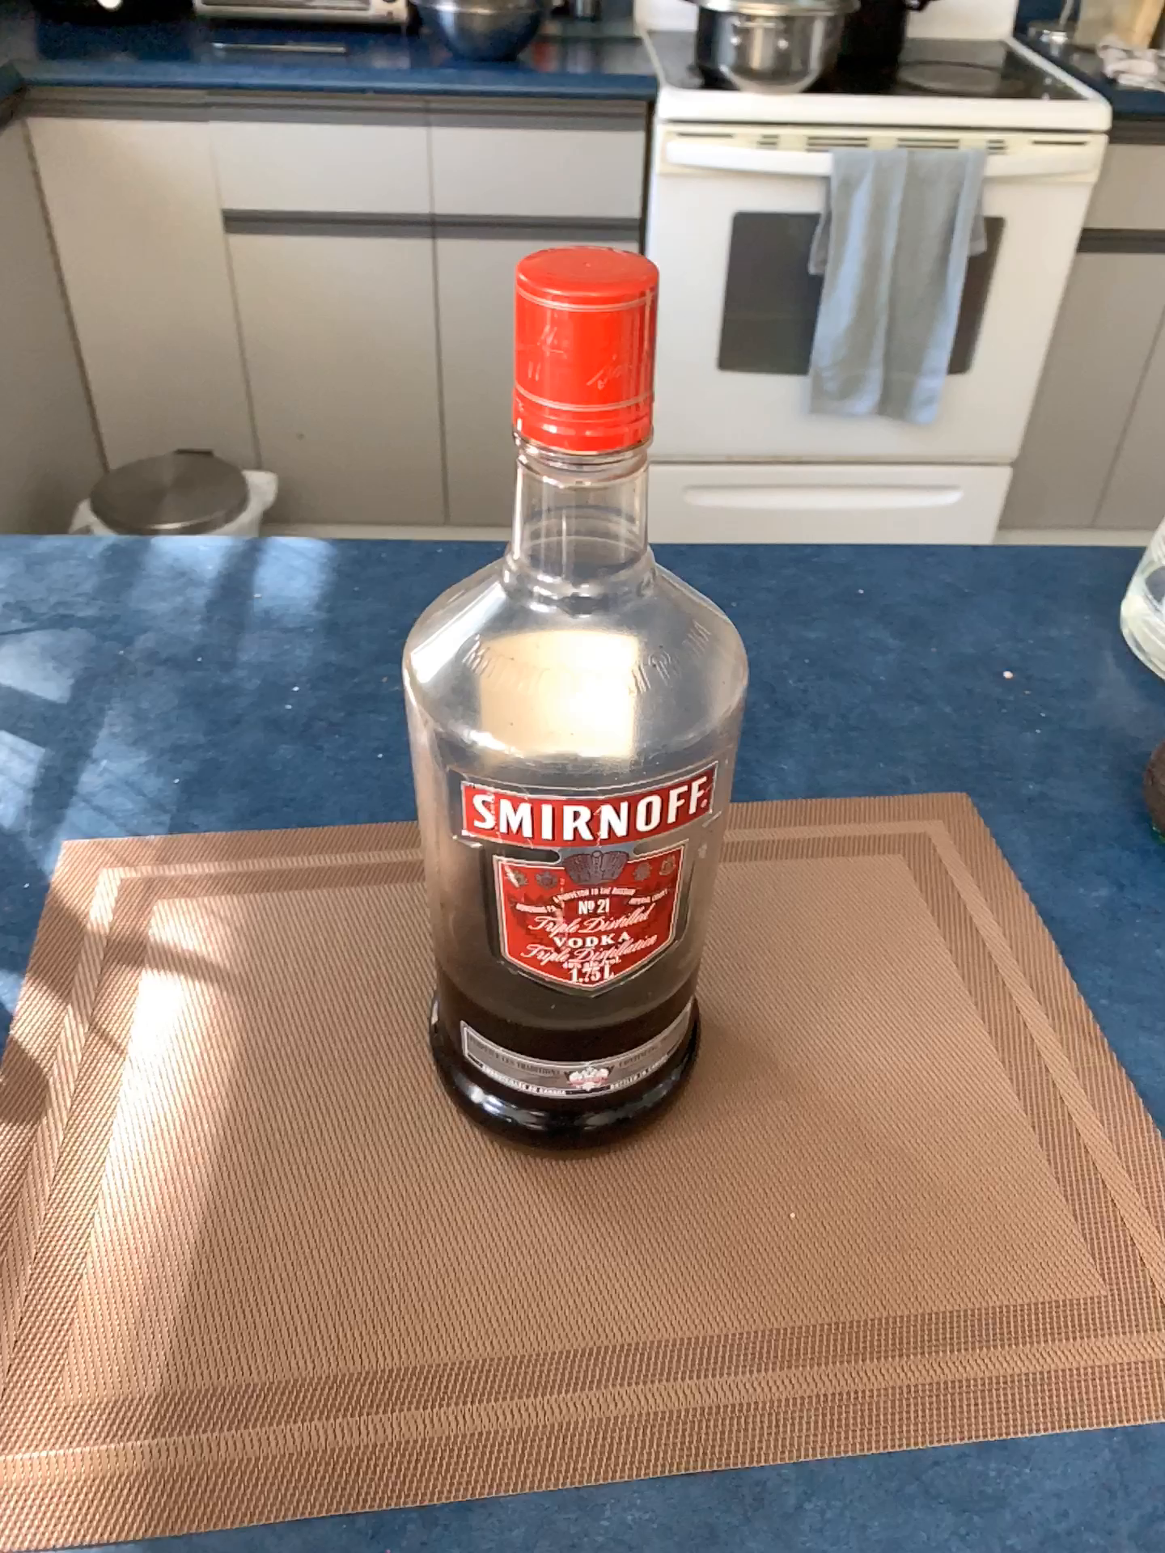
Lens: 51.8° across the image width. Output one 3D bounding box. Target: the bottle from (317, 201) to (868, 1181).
[{"bbox_3d":[-0.008,-0.007,0.402,0.120,0.317,0.111,1,40,-1],"label":"bottle"}]
